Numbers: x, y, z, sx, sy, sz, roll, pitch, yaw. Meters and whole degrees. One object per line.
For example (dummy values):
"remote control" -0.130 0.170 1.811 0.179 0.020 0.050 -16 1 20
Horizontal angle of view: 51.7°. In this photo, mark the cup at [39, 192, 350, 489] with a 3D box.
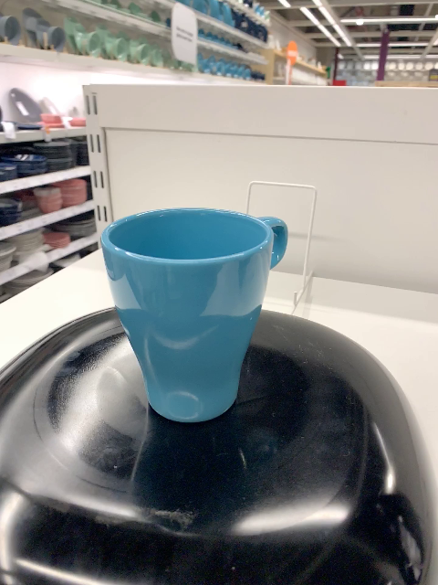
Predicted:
"cup" -0.006 0.008 0.263 0.100 0.100 0.140 18 28 34
